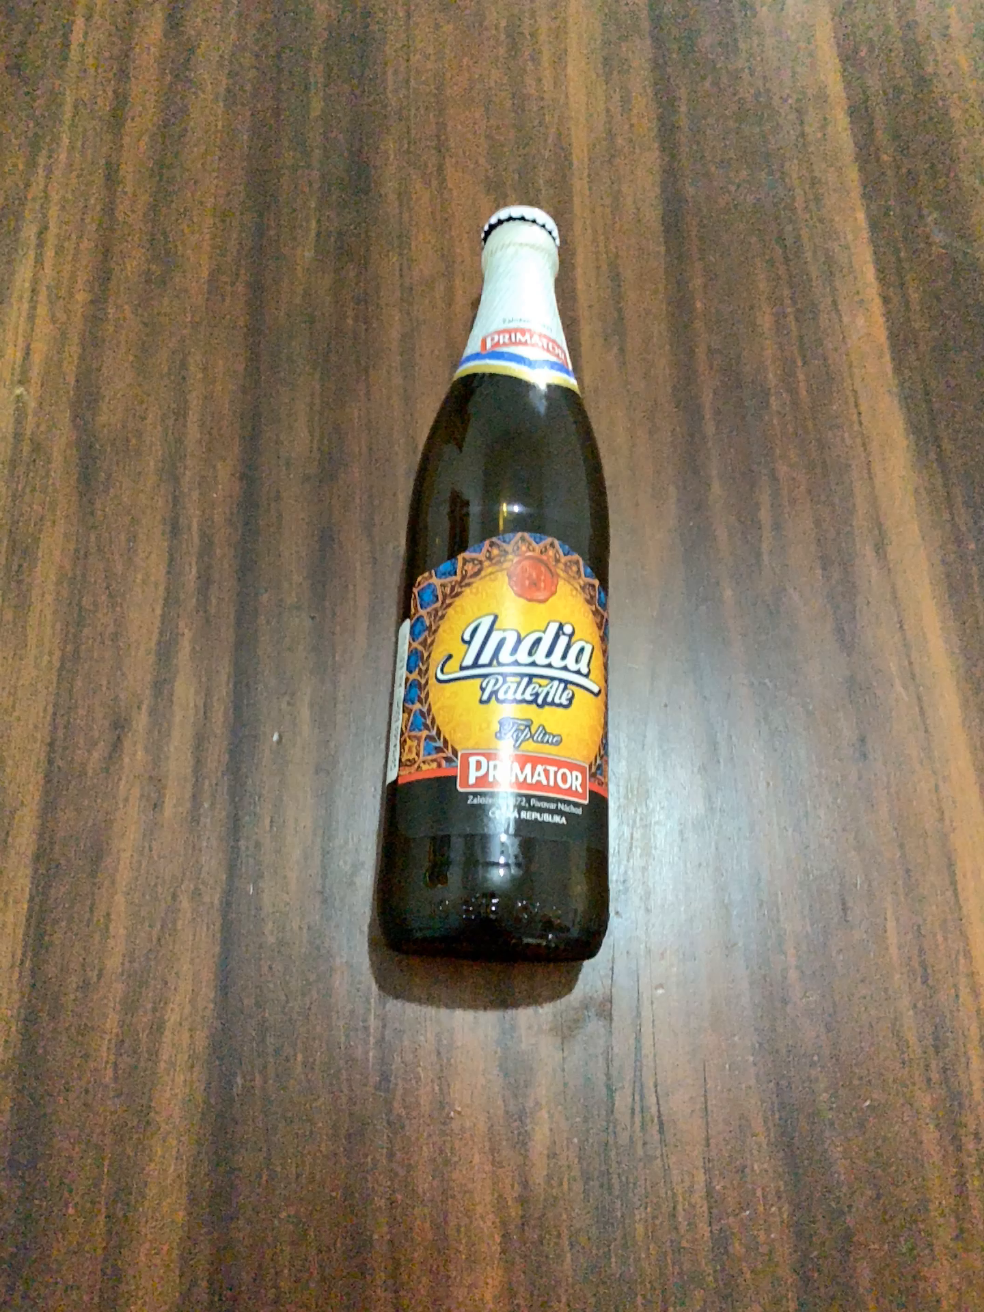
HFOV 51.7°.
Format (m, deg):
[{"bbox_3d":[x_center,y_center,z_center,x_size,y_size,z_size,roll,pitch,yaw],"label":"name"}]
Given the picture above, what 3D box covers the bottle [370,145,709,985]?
[{"bbox_3d":[0.012,-0.034,0.324,0.080,0.060,0.260,6,68,-11],"label":"bottle"}]
